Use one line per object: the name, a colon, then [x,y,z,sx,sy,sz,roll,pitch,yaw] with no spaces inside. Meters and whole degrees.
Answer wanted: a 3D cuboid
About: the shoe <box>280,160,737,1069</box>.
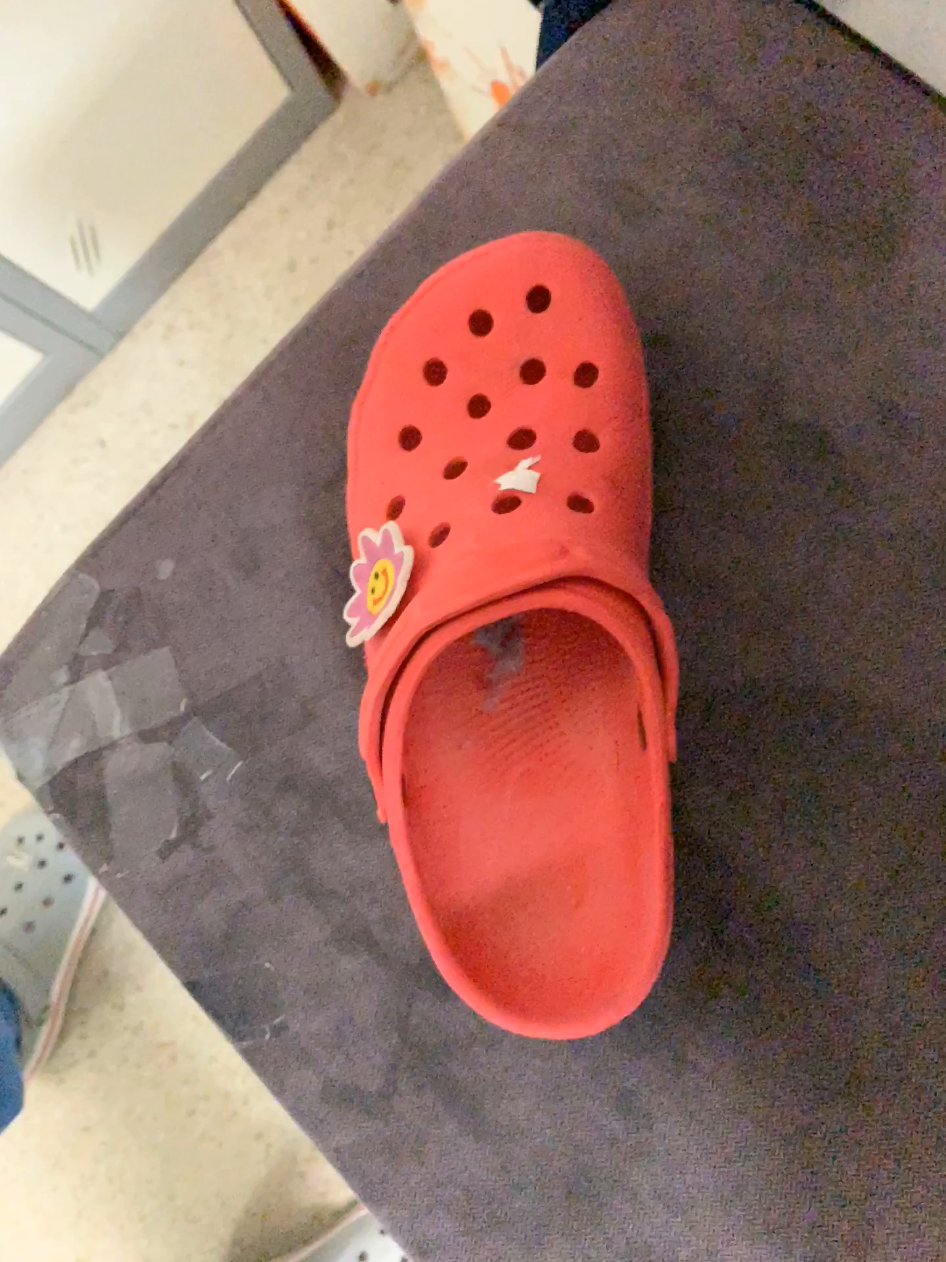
shoe: [0.013,-0.001,0.273,0.092,0.081,0.208,-6,84,12]
